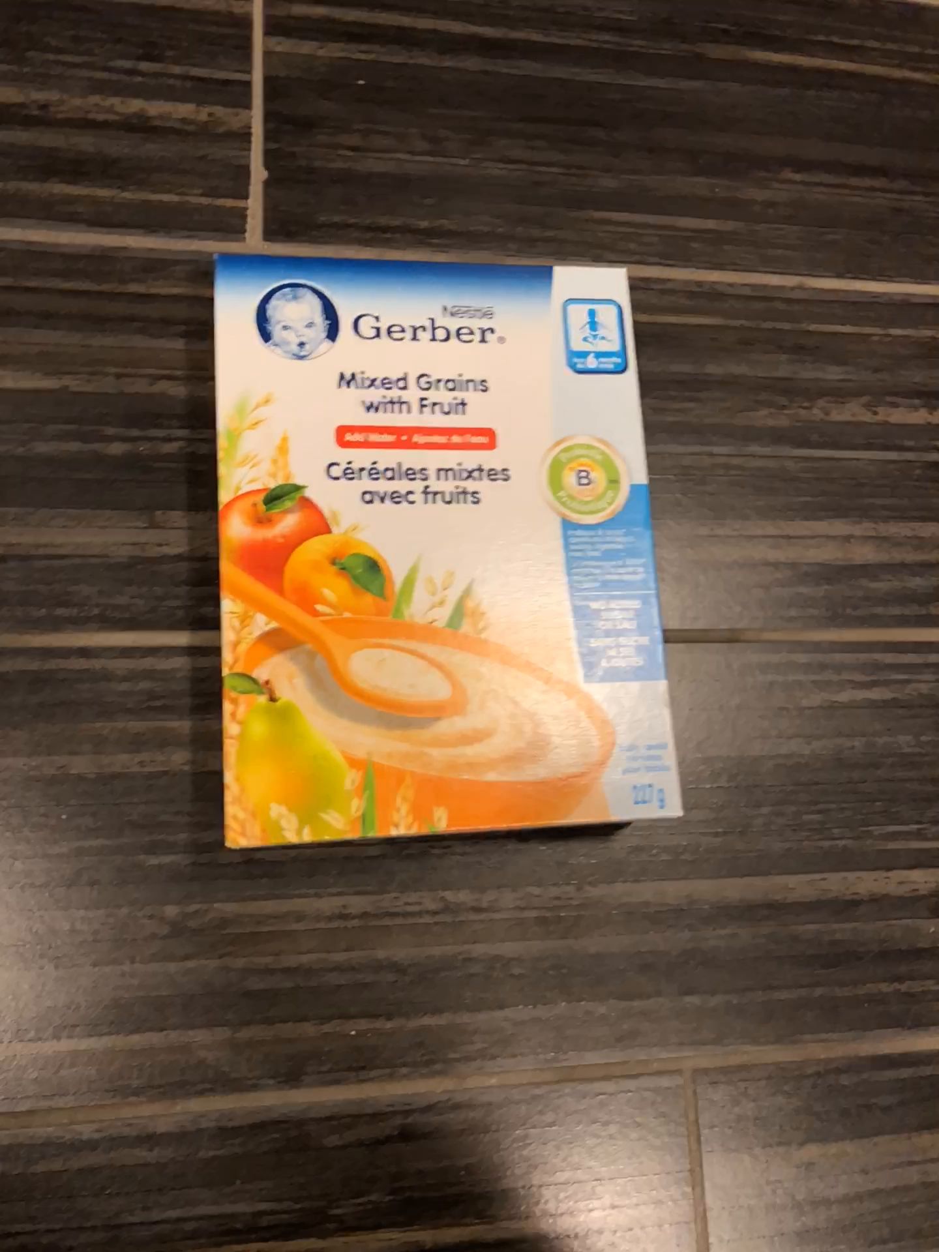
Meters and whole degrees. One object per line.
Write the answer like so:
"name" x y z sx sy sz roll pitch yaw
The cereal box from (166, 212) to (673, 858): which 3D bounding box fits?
"cereal box" -0.021 -0.030 0.351 0.150 0.050 0.200 -1 79 -11
